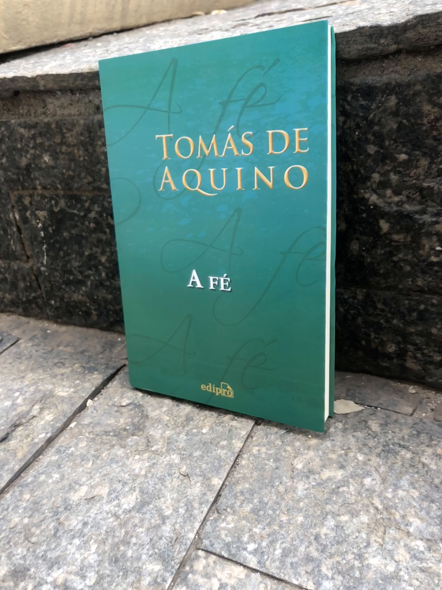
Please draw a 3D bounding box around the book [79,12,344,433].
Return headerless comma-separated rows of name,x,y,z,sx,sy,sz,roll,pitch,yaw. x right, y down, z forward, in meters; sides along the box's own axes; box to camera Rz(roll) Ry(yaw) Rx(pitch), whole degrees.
book,-0.008,-0.033,0.276,0.142,0.199,0.020,7,18,28
